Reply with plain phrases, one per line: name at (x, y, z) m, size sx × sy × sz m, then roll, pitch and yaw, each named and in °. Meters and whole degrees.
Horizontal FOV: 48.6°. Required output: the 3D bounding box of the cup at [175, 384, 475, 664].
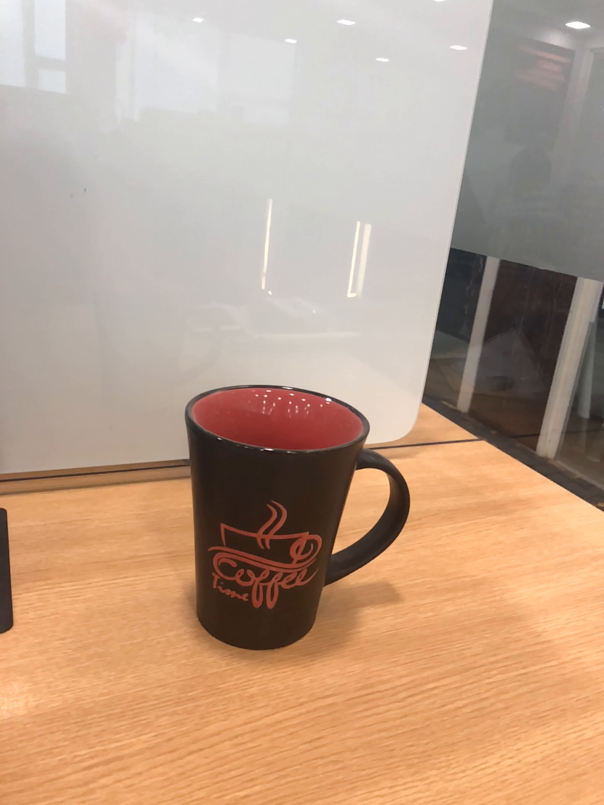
cup at (0.002, 0.054, 0.334) m, size 0.120 × 0.100 × 0.090 m, roll 1°, pitch 19°, yaw -14°
